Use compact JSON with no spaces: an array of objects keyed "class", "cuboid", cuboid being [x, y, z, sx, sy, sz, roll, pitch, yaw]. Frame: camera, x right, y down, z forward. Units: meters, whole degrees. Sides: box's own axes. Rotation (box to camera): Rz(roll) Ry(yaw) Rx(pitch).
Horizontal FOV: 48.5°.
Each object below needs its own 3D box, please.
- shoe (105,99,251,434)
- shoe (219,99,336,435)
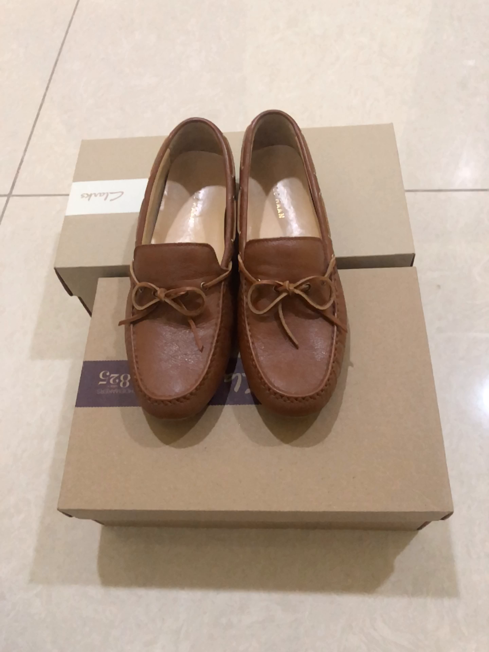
[{"class":"shoe","cuboid":[-0.045,-0.057,0.467,0.080,0.080,0.280,2,68,6]},{"class":"shoe","cuboid":[0.023,-0.055,0.468,0.080,0.080,0.280,-3,67,3]}]
